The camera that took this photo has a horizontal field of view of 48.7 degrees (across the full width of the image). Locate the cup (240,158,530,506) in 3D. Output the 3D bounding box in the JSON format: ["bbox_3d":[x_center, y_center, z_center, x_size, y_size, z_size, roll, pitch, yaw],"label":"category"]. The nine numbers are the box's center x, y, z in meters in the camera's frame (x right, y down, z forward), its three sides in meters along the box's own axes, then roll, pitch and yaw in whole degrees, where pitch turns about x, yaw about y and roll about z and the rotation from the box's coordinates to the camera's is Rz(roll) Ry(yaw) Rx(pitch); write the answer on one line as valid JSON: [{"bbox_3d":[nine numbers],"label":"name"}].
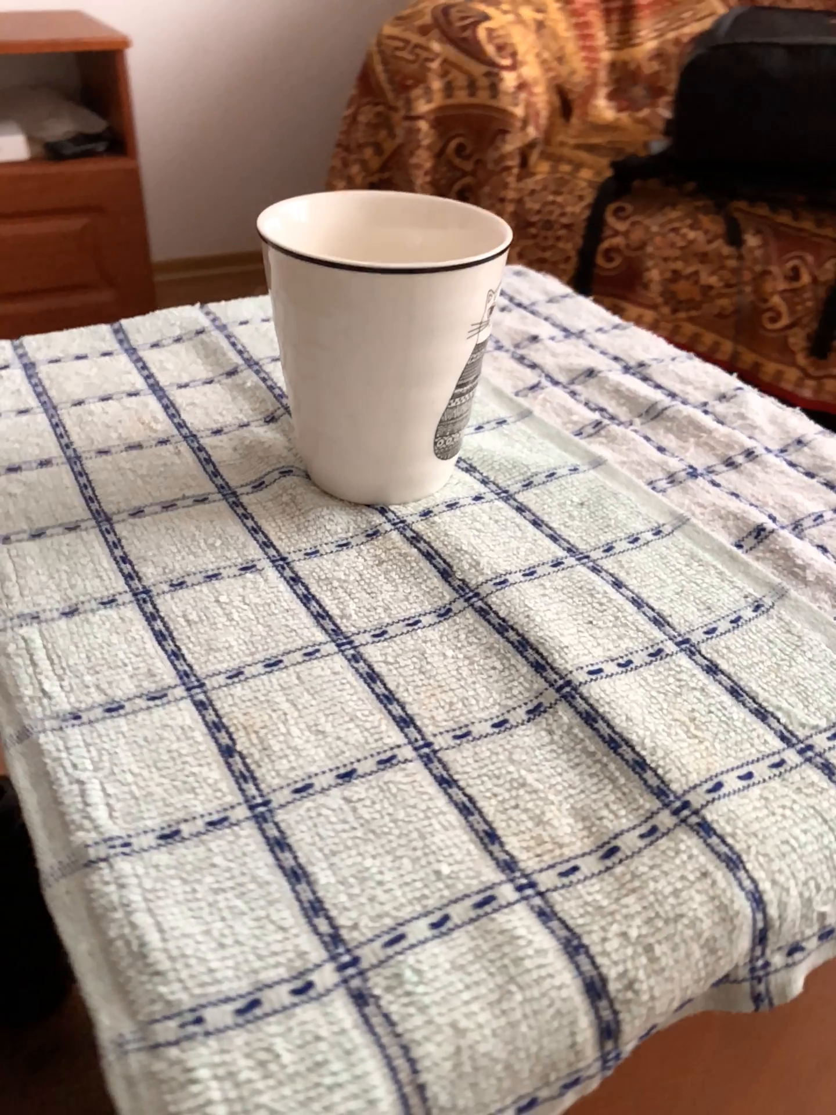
[{"bbox_3d":[-0.014,-0.093,0.364,0.090,0.090,0.124,2,36,-3],"label":"cup"}]
